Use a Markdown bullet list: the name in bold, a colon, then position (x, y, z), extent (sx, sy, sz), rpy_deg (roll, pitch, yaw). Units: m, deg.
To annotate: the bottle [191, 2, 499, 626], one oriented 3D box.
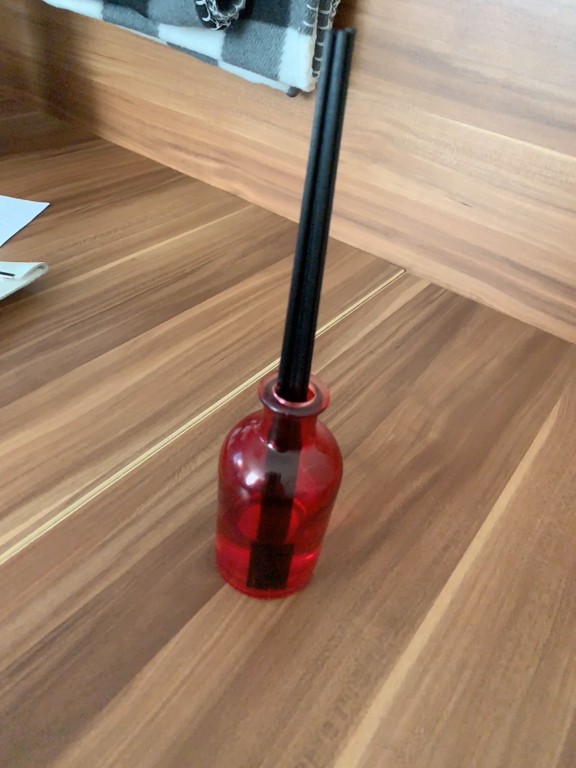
- **bottle**: position (0.003, -0.003, 0.232), extent (0.060, 0.239, 0.050), rpy_deg (33, 45, 27)
